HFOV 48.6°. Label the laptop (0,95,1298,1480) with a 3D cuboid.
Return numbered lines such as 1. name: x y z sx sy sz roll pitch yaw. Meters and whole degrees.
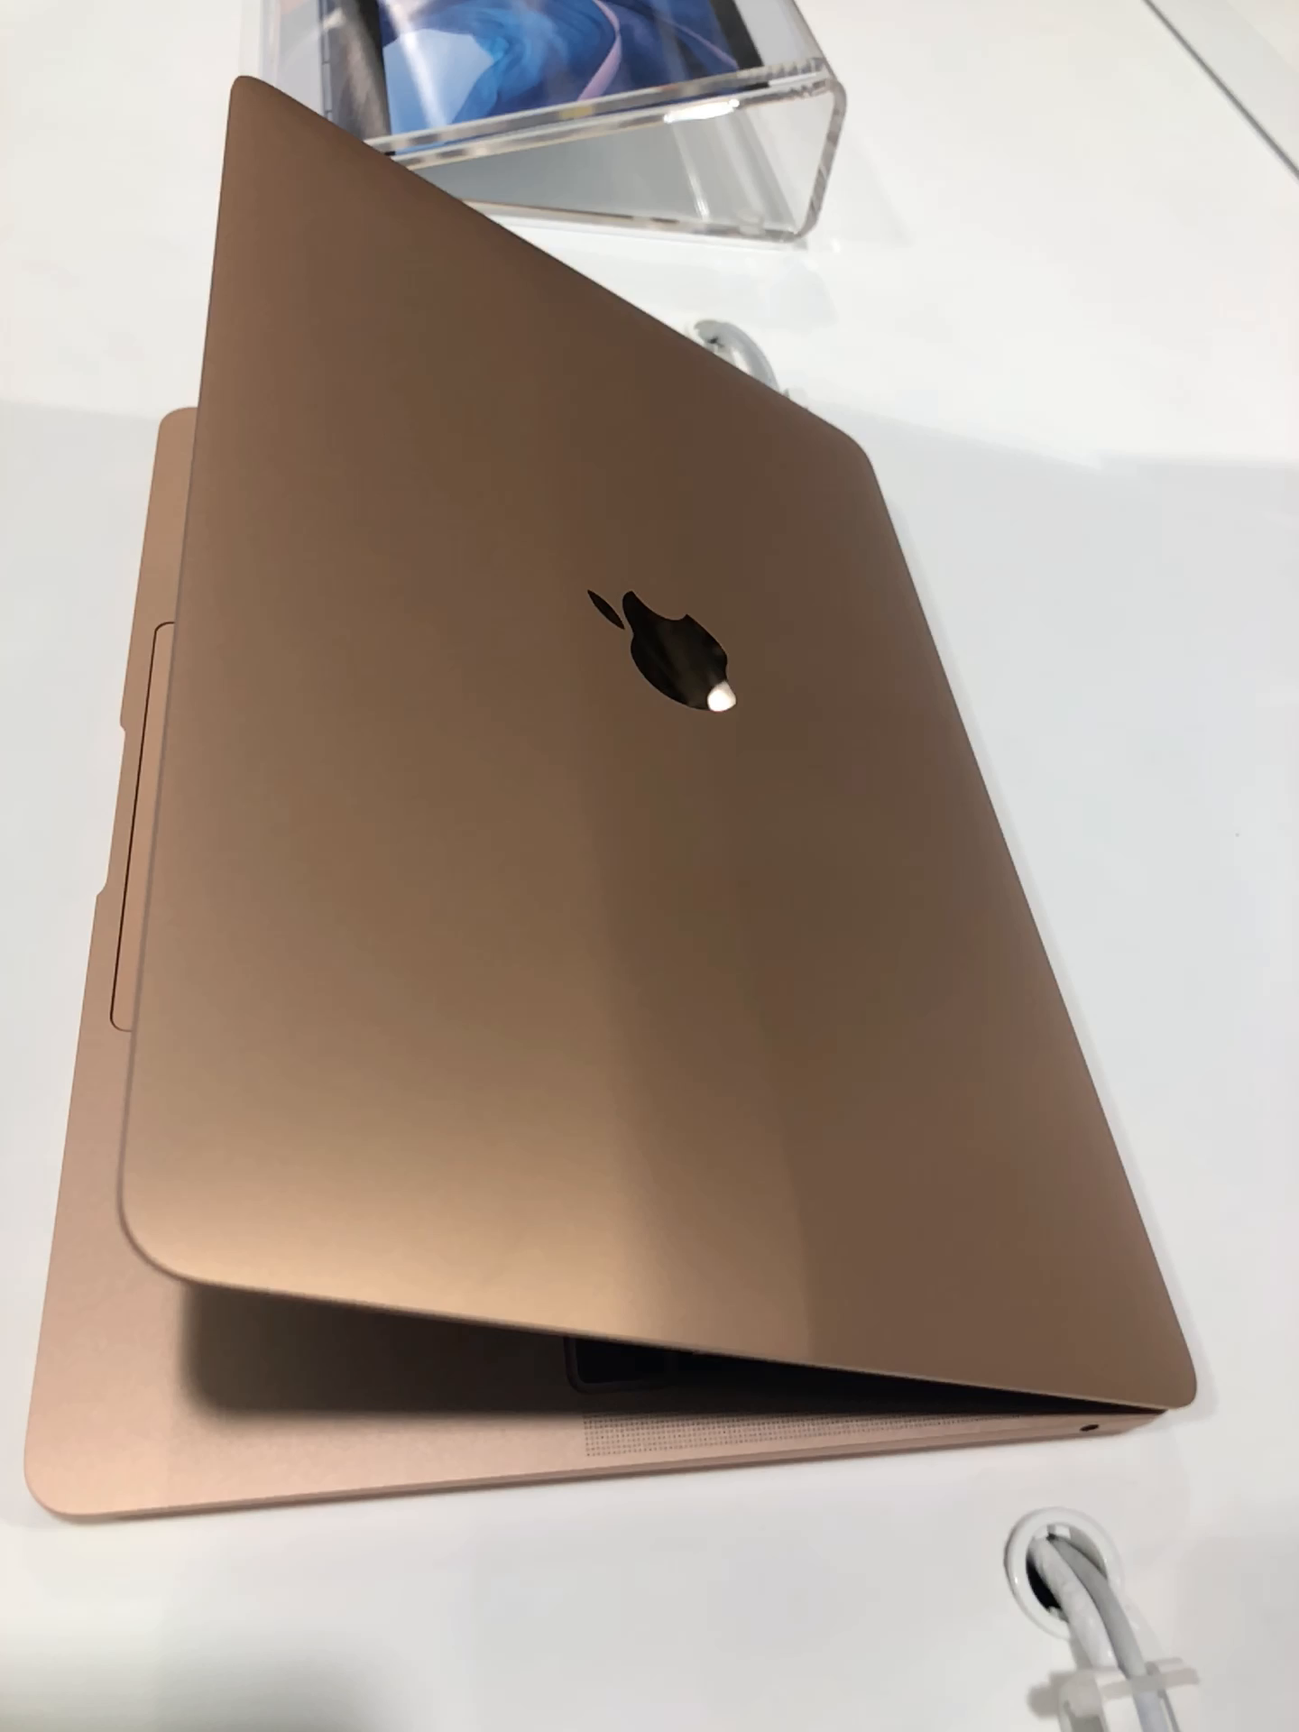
1. laptop: -0.006 -0.040 0.309 0.208 0.091 0.286 1 51 -12
